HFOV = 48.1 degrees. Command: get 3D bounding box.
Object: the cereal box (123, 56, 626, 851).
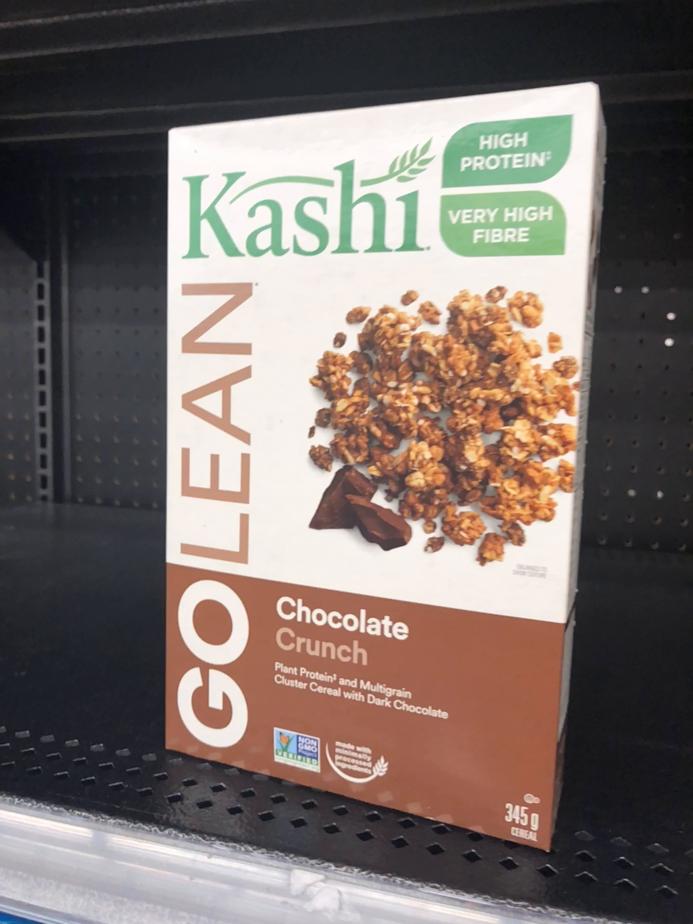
[{"bbox_3d":[0.003,-0.005,0.301,0.180,0.250,0.050,4,6,23],"label":"cereal box"}]
